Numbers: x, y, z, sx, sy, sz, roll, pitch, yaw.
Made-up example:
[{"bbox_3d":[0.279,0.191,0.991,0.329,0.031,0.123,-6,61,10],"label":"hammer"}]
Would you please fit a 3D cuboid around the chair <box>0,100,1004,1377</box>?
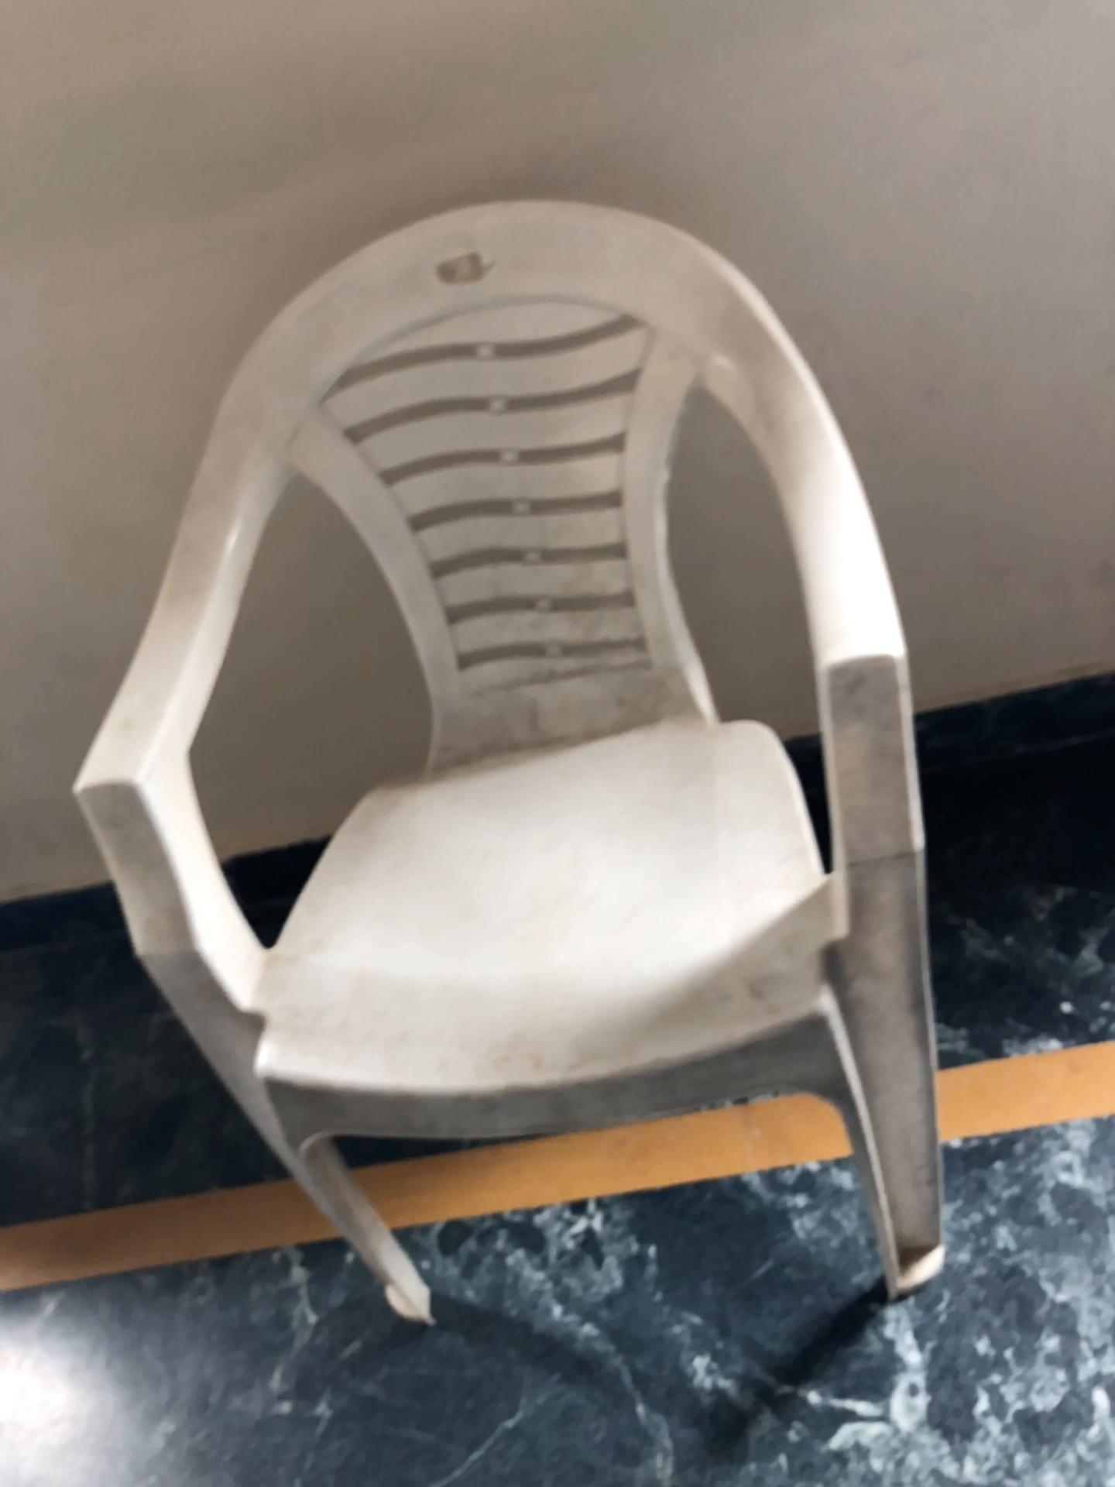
[{"bbox_3d":[-0.015,0.020,1.058,0.580,0.776,0.624,-11,39,9],"label":"chair"}]
